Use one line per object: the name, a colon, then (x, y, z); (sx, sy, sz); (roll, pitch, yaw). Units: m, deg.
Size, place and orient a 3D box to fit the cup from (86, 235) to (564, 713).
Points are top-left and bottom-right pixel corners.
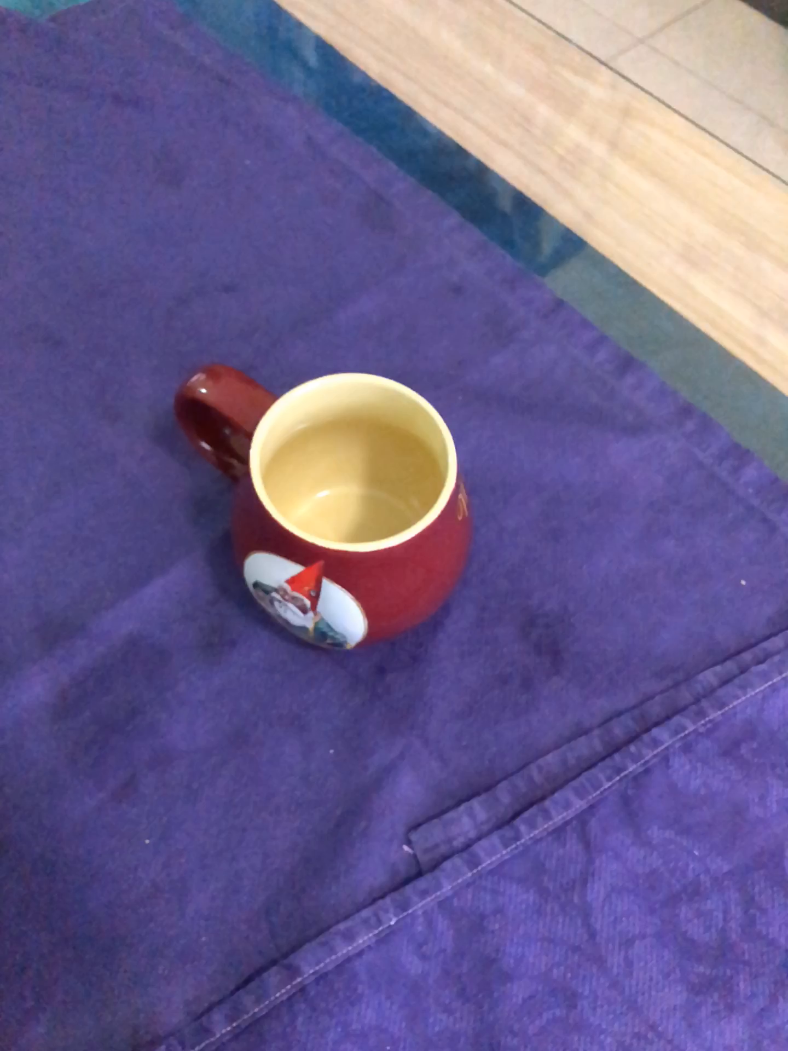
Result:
cup: (-0.023, -0.016, 0.305); (0.120, 0.090, 0.080); (35, 65, 15)
